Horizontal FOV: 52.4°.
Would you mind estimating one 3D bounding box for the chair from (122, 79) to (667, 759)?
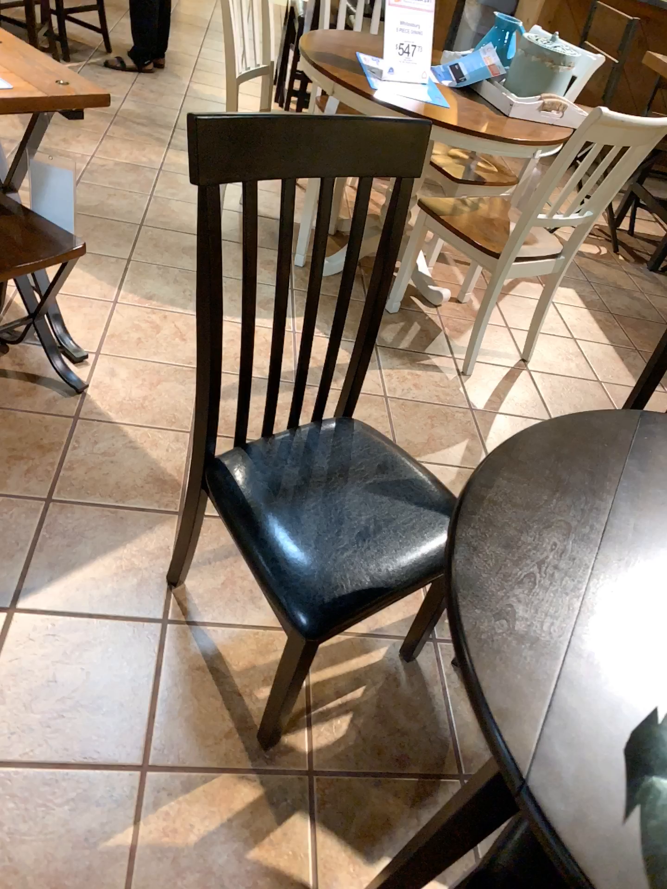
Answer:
[{"bbox_3d":[-0.018,-0.022,1.172,0.455,0.923,0.562,-17,51,-34],"label":"chair"}]

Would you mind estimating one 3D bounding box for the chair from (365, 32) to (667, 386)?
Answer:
[{"bbox_3d":[0.557,-0.751,2.239,0.465,0.894,0.542,-16,50,-33],"label":"chair"}]

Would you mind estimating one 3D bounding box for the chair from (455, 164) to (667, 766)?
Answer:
[{"bbox_3d":[0.609,0.072,1.275,0.384,0.933,0.544,21,40,4],"label":"chair"}]

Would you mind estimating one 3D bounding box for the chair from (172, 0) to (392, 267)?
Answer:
[{"bbox_3d":[-0.216,-1.235,2.507,0.541,0.903,0.416,22,40,6],"label":"chair"}]

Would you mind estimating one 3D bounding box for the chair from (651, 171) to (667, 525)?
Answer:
[{"bbox_3d":[1.500,-0.238,2.019,0.541,0.894,0.406,8,40,-11],"label":"chair"}]
